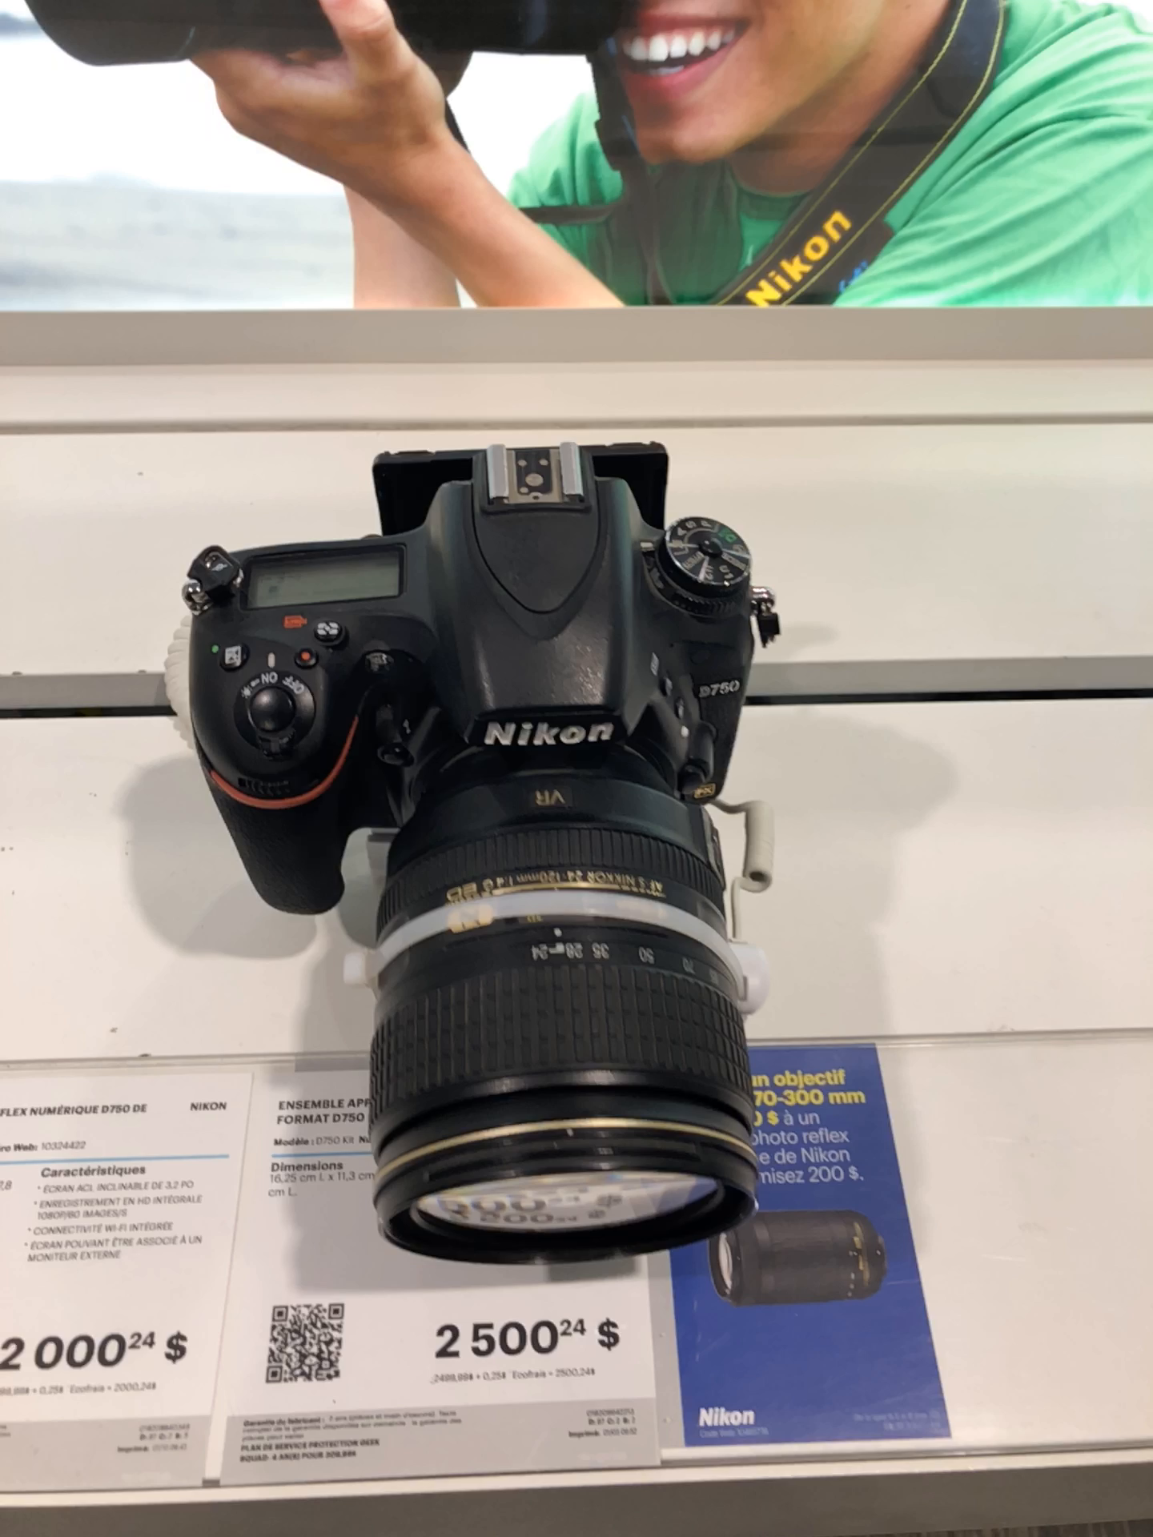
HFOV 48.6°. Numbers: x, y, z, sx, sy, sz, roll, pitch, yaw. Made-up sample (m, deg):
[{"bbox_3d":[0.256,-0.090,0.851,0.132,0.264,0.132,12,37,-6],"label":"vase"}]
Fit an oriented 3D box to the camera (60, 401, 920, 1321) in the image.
[{"bbox_3d":[-0.021,0.014,0.300,0.138,0.099,0.184,-3,52,-4],"label":"camera"}]
